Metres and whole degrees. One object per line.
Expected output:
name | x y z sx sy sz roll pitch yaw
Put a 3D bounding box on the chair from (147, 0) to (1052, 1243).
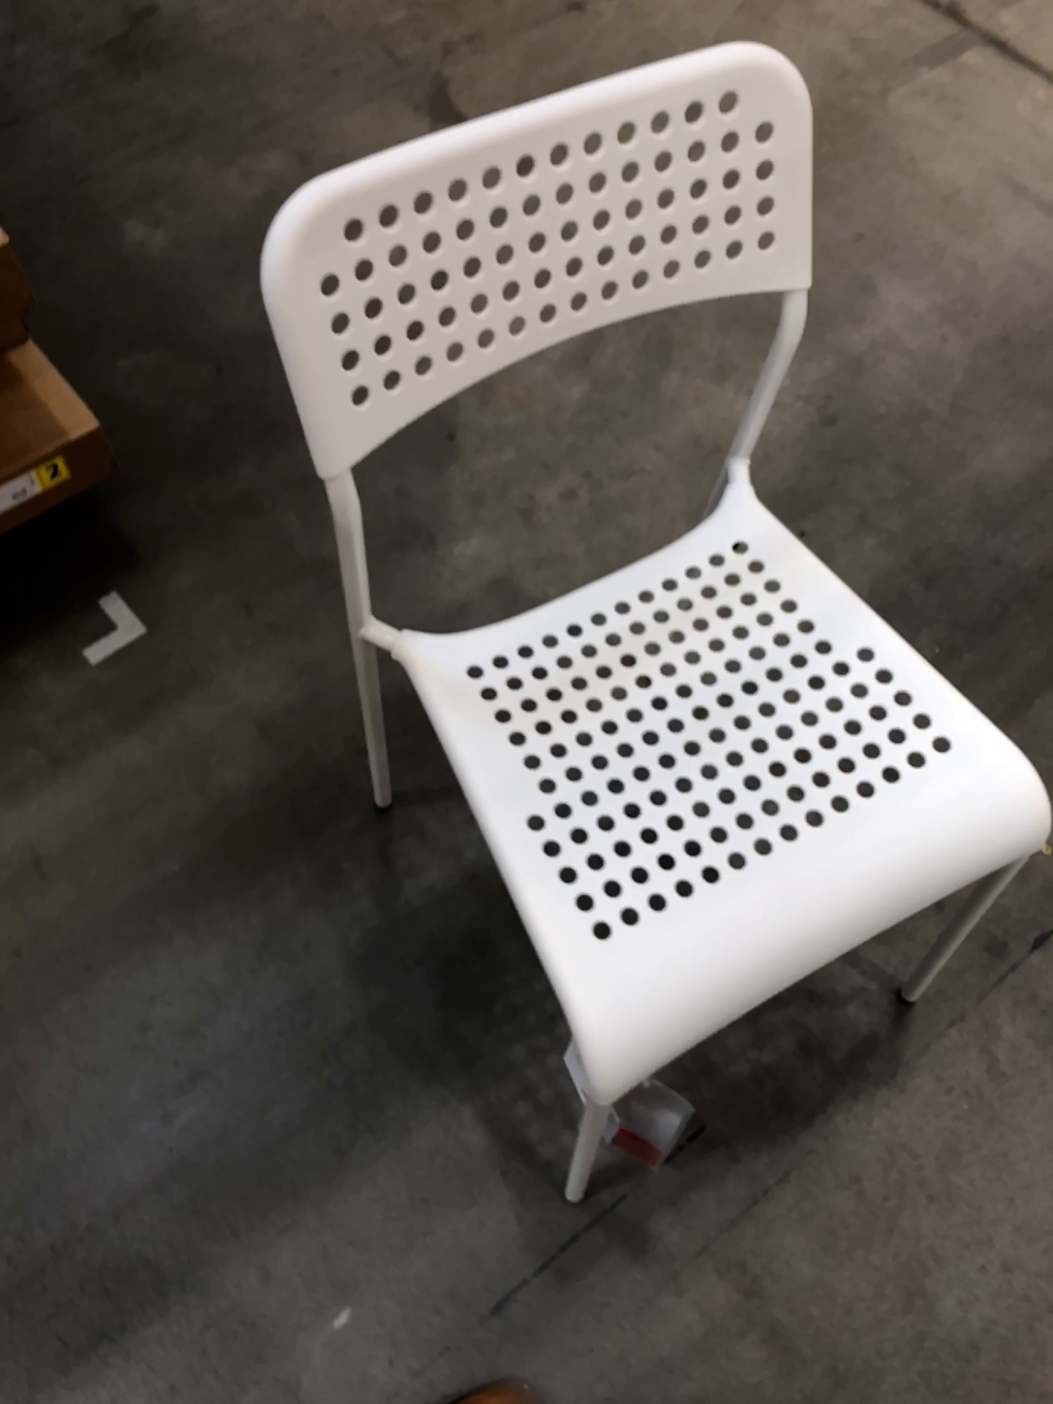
chair | 0.119 0.002 0.860 0.460 0.699 0.511 -25 64 -14
